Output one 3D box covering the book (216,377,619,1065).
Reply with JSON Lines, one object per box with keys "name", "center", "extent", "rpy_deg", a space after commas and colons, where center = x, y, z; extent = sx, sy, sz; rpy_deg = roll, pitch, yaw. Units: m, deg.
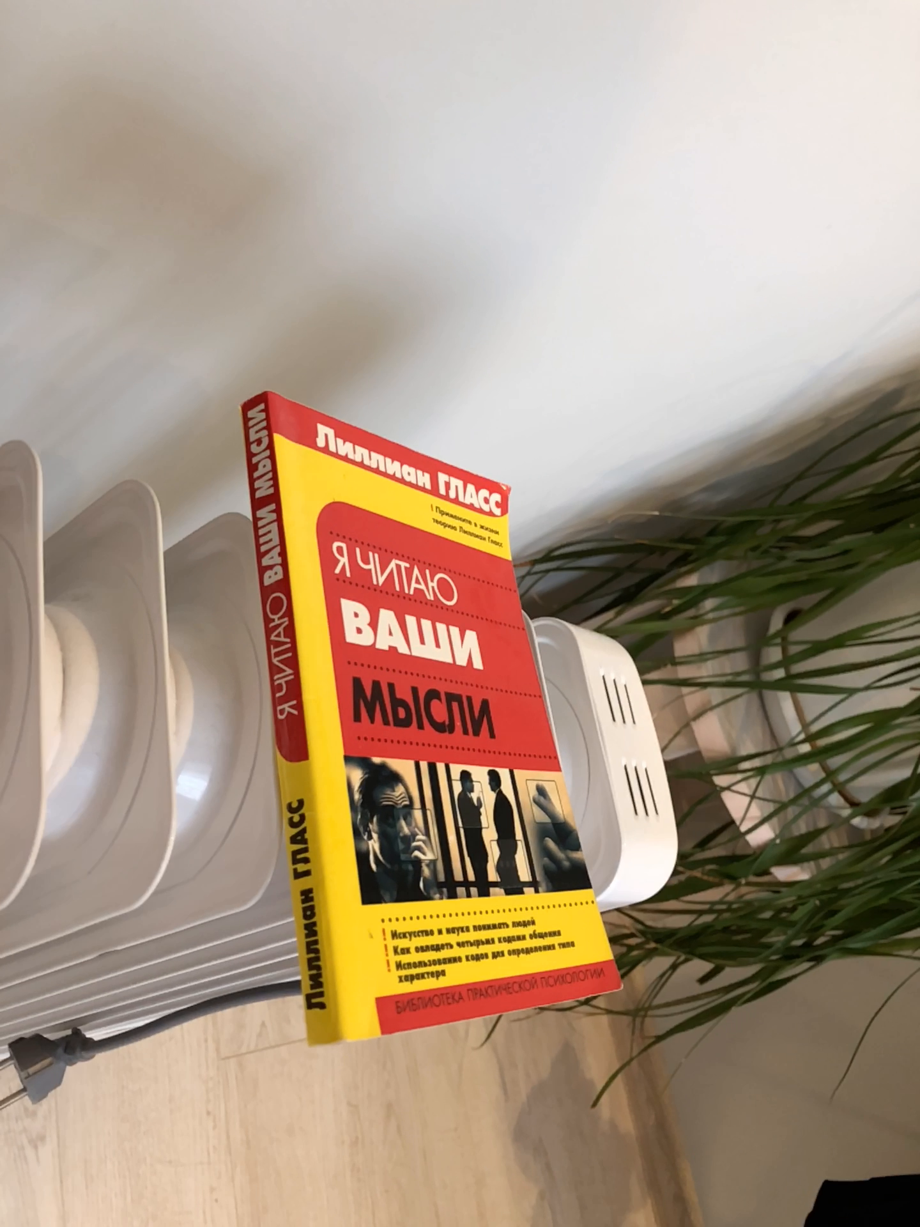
{"name": "book", "center": [-0.014, 0.031, 0.346], "extent": [0.129, 0.020, 0.207], "rpy_deg": [14, 57, -47]}
